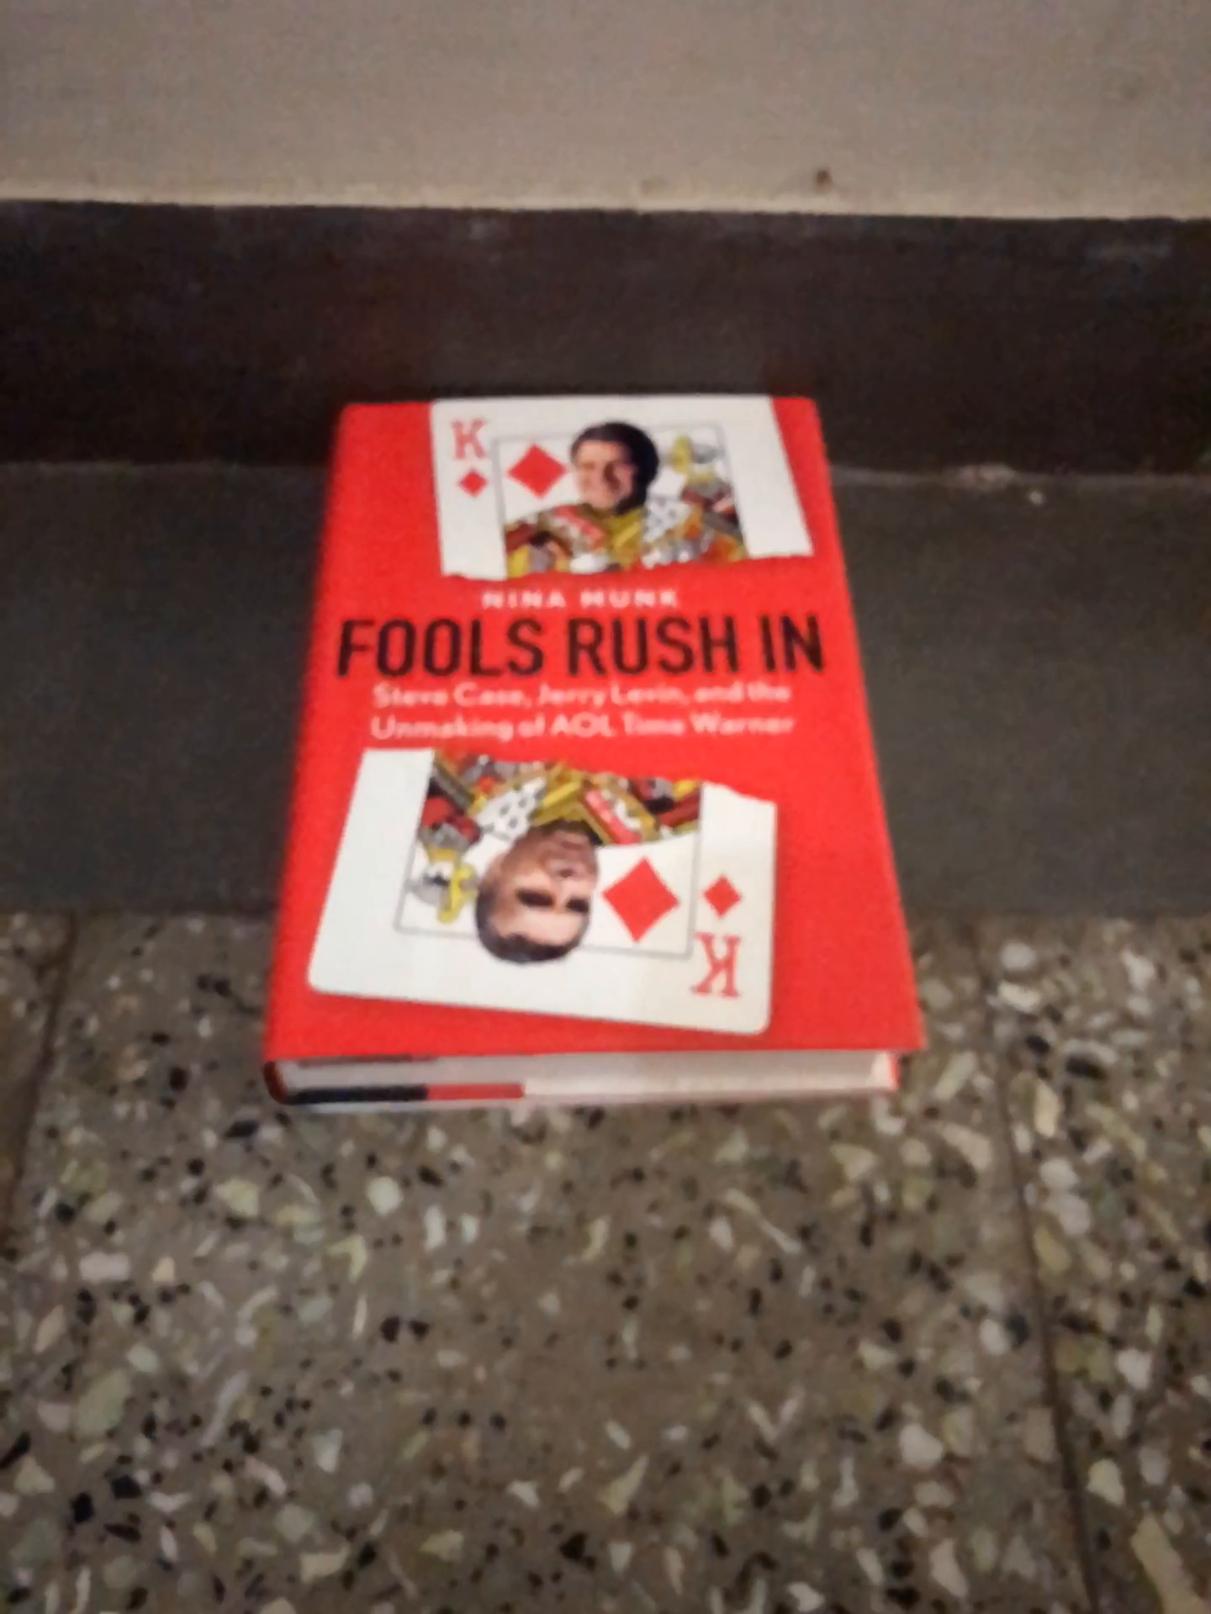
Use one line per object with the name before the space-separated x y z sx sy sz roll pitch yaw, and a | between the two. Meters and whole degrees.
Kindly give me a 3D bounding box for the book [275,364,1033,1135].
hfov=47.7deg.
book | 0.007 -0.037 0.415 0.180 0.030 0.271 -1 54 -3
